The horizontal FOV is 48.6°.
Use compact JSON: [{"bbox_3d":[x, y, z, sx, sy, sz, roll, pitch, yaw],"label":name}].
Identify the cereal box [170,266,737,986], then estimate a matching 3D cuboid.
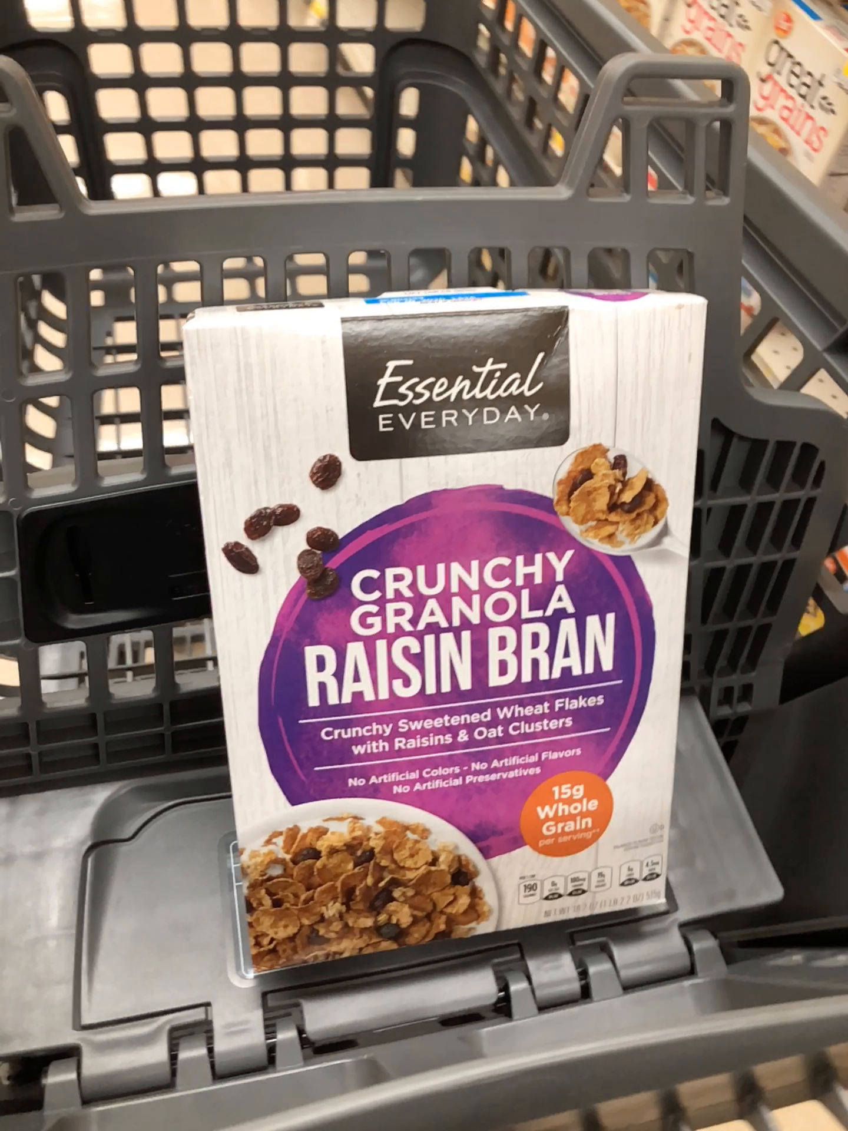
[{"bbox_3d":[0.013,0.023,0.400,0.200,0.280,0.070,-6,19,-11],"label":"cereal box"}]
